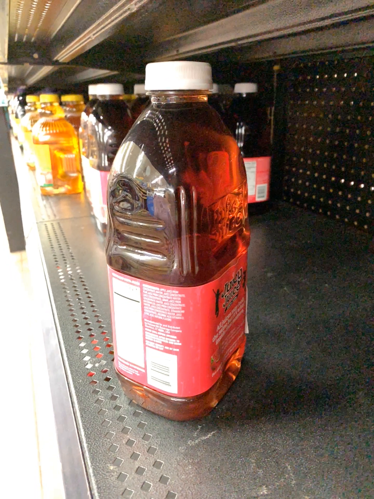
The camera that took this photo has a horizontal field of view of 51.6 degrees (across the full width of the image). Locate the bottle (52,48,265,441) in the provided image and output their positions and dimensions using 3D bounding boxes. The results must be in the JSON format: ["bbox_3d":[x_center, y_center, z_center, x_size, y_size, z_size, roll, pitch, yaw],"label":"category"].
[{"bbox_3d":[-0.006,-0.008,0.306,0.090,0.255,0.125,9,24,26],"label":"bottle"}]
